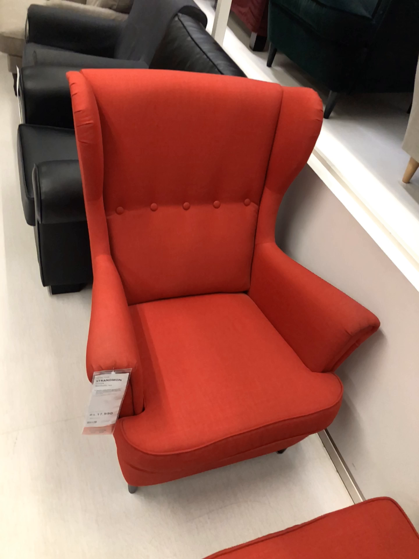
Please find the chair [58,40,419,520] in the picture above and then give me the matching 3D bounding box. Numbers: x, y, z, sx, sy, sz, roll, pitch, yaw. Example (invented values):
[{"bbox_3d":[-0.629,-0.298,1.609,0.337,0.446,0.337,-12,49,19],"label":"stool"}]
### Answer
[{"bbox_3d":[0.072,-0.013,1.395,0.901,0.974,0.844,-6,47,-22],"label":"chair"}]
